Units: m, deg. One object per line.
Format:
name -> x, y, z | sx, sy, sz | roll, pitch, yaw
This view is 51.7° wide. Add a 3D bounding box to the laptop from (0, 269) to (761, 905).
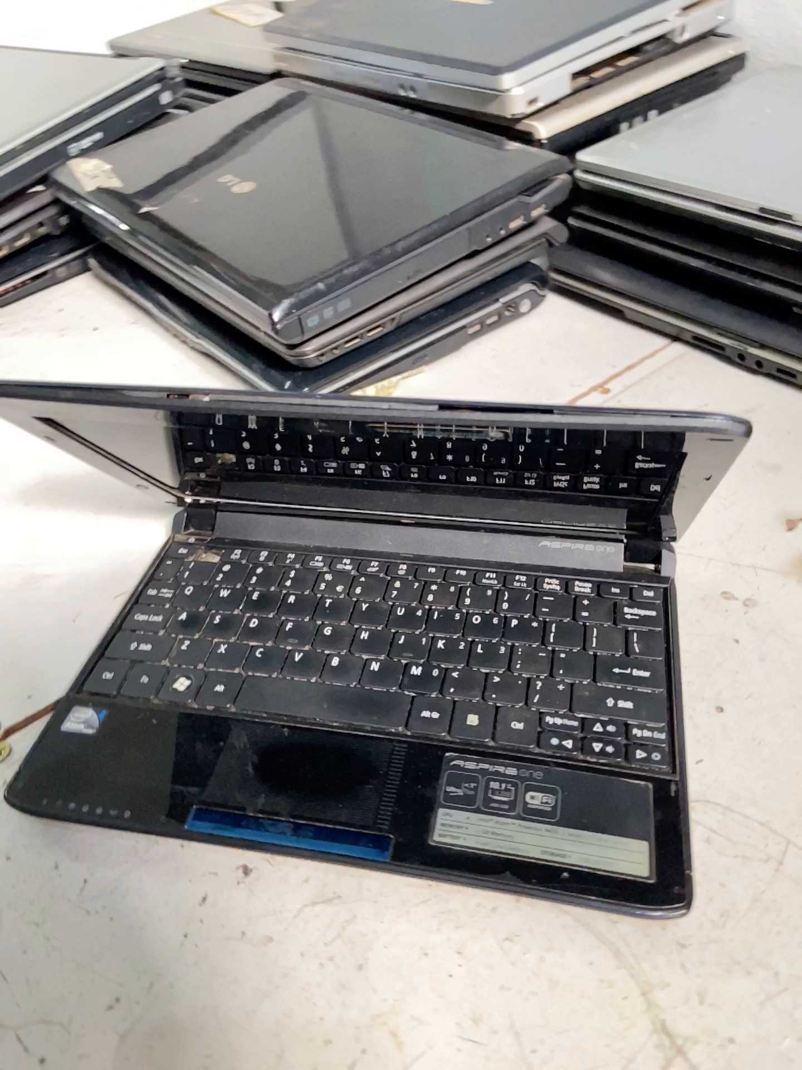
laptop -> -0.019, 0.002, 0.303 | 0.244, 0.131, 0.172 | 4, 41, 12
